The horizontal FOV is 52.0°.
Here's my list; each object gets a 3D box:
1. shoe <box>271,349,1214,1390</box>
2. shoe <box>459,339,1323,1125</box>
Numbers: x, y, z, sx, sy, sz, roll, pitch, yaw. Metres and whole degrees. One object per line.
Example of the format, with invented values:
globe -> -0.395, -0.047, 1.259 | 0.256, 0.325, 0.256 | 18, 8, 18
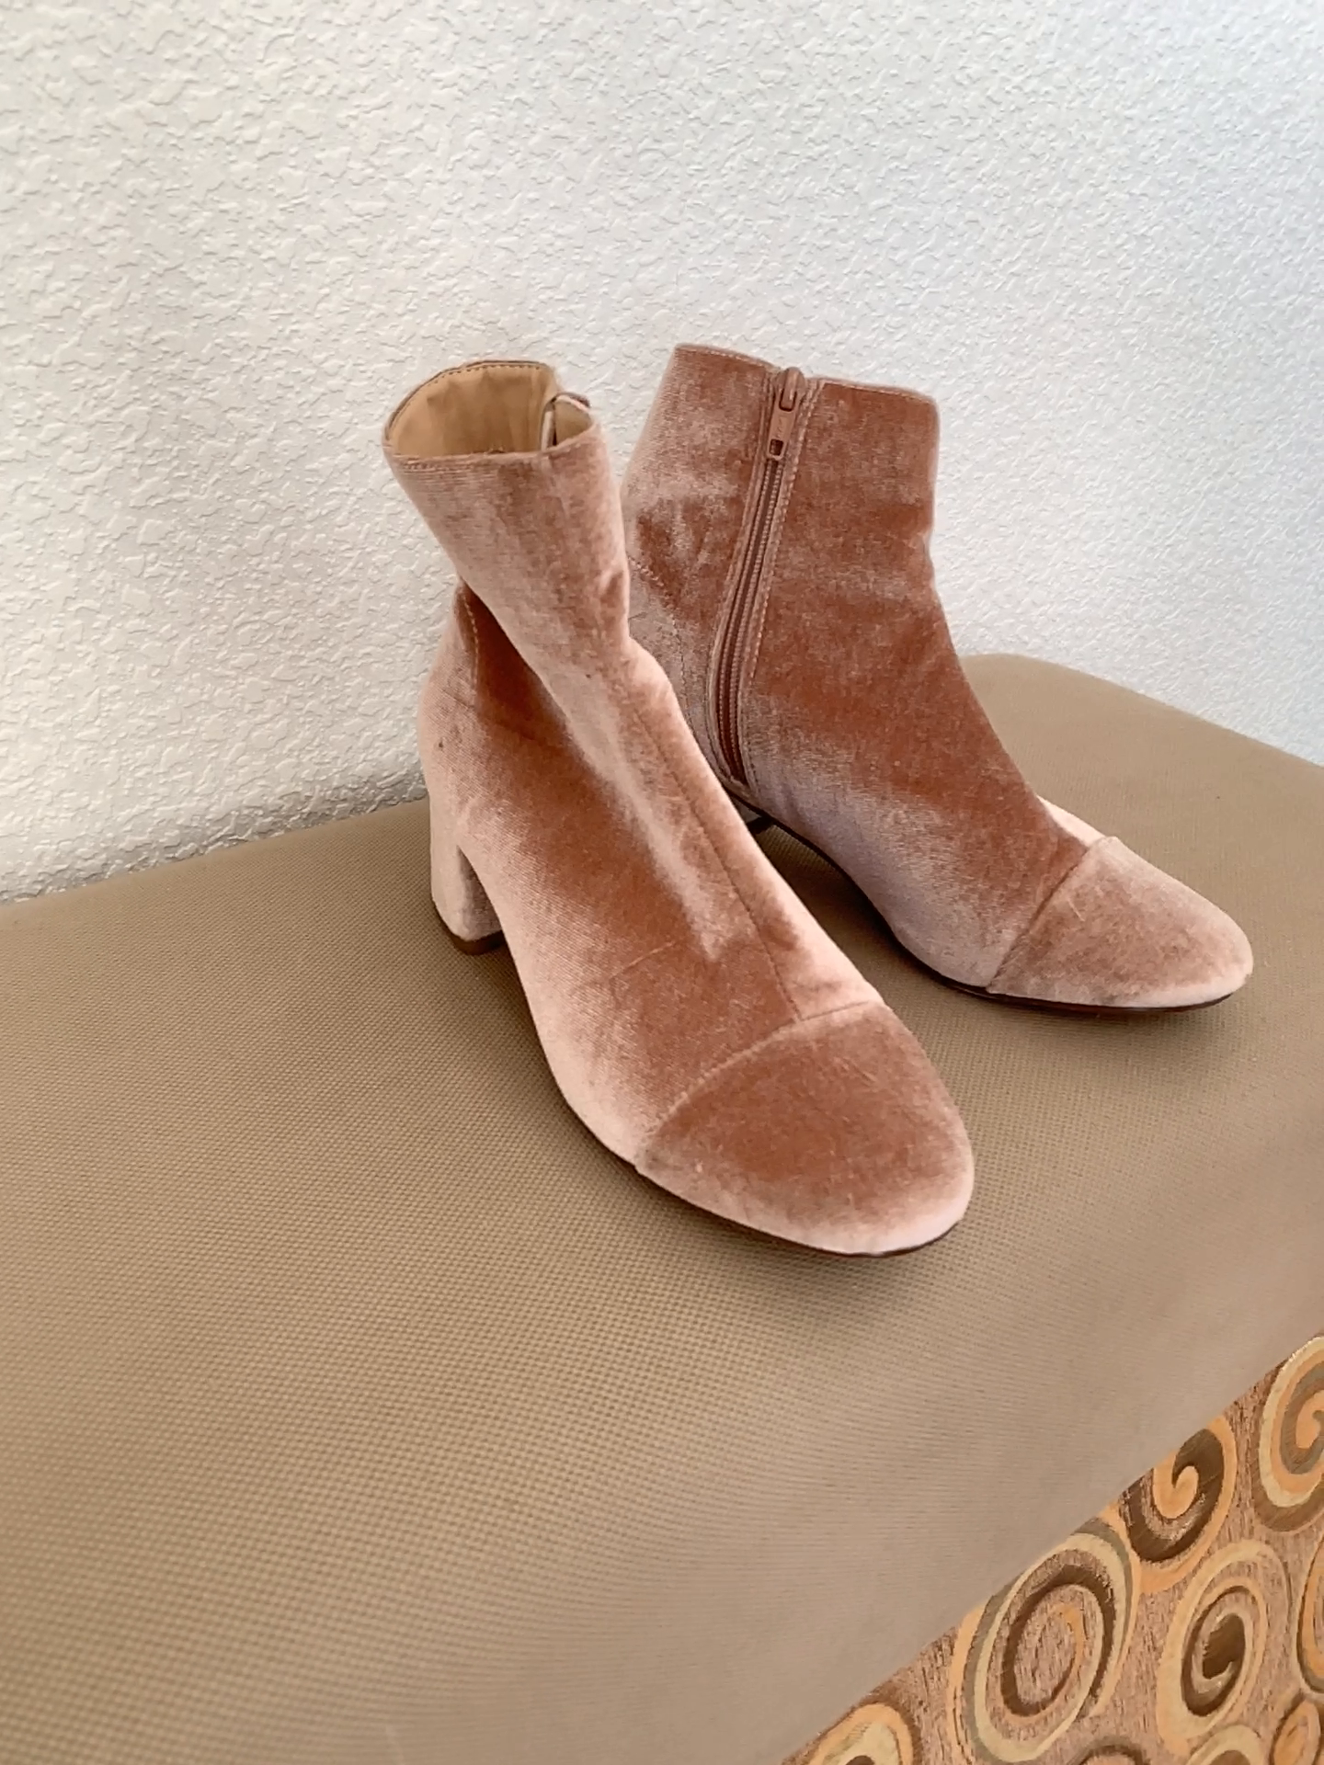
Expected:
shoe -> -0.004, -0.028, 0.355 | 0.100, 0.169, 0.231 | -17, 36, -29
shoe -> 0.070, -0.067, 0.450 | 0.271, 0.169, 0.100 | 22, 36, 30
